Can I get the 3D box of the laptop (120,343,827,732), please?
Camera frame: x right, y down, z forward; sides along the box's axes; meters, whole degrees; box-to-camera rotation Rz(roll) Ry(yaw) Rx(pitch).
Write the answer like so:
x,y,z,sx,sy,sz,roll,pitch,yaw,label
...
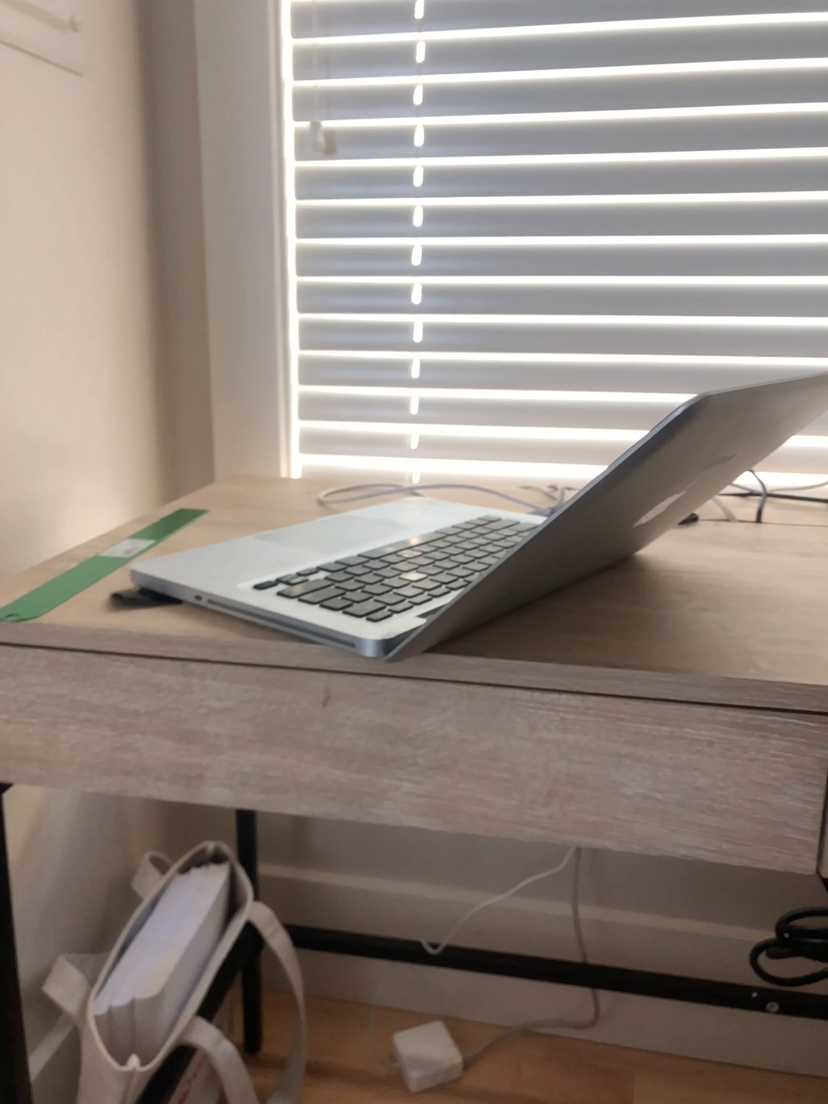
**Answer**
x,y,z,sx,sy,sz,roll,pitch,yaw,label
0.056,-0.053,0.600,0.345,0.133,0.321,13,19,35,laptop
